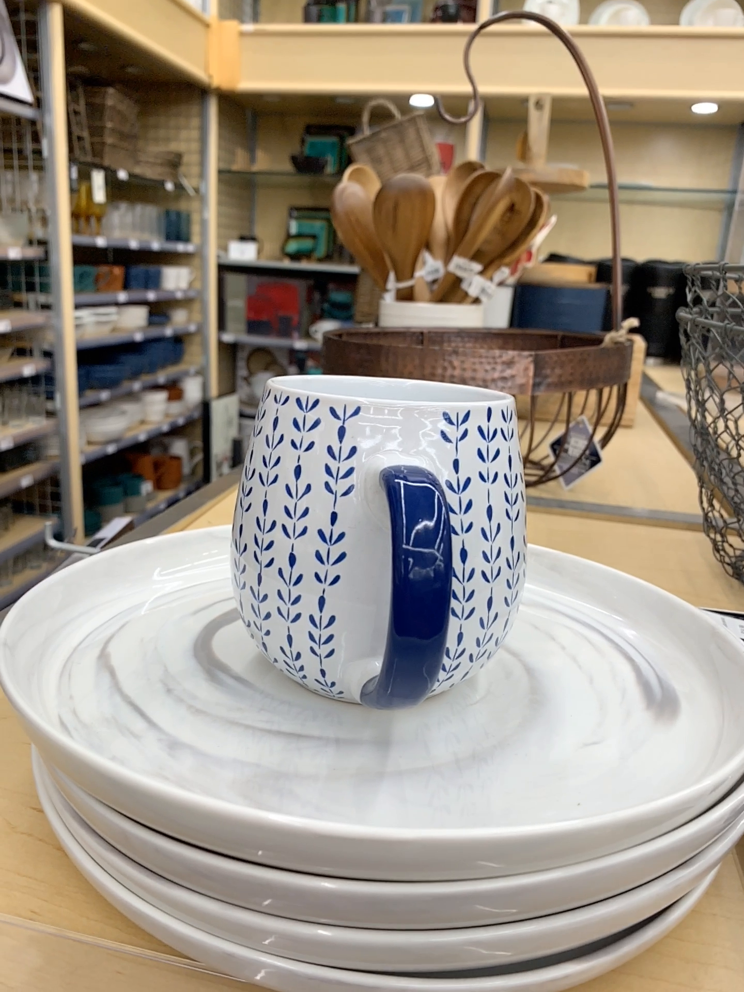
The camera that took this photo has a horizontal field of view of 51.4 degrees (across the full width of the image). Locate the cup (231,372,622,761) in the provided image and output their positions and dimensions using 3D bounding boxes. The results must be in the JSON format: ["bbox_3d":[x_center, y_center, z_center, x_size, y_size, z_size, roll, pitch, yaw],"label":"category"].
[{"bbox_3d":[0.007,0.013,0.275,0.104,0.097,0.128,1,14,-6],"label":"cup"}]
